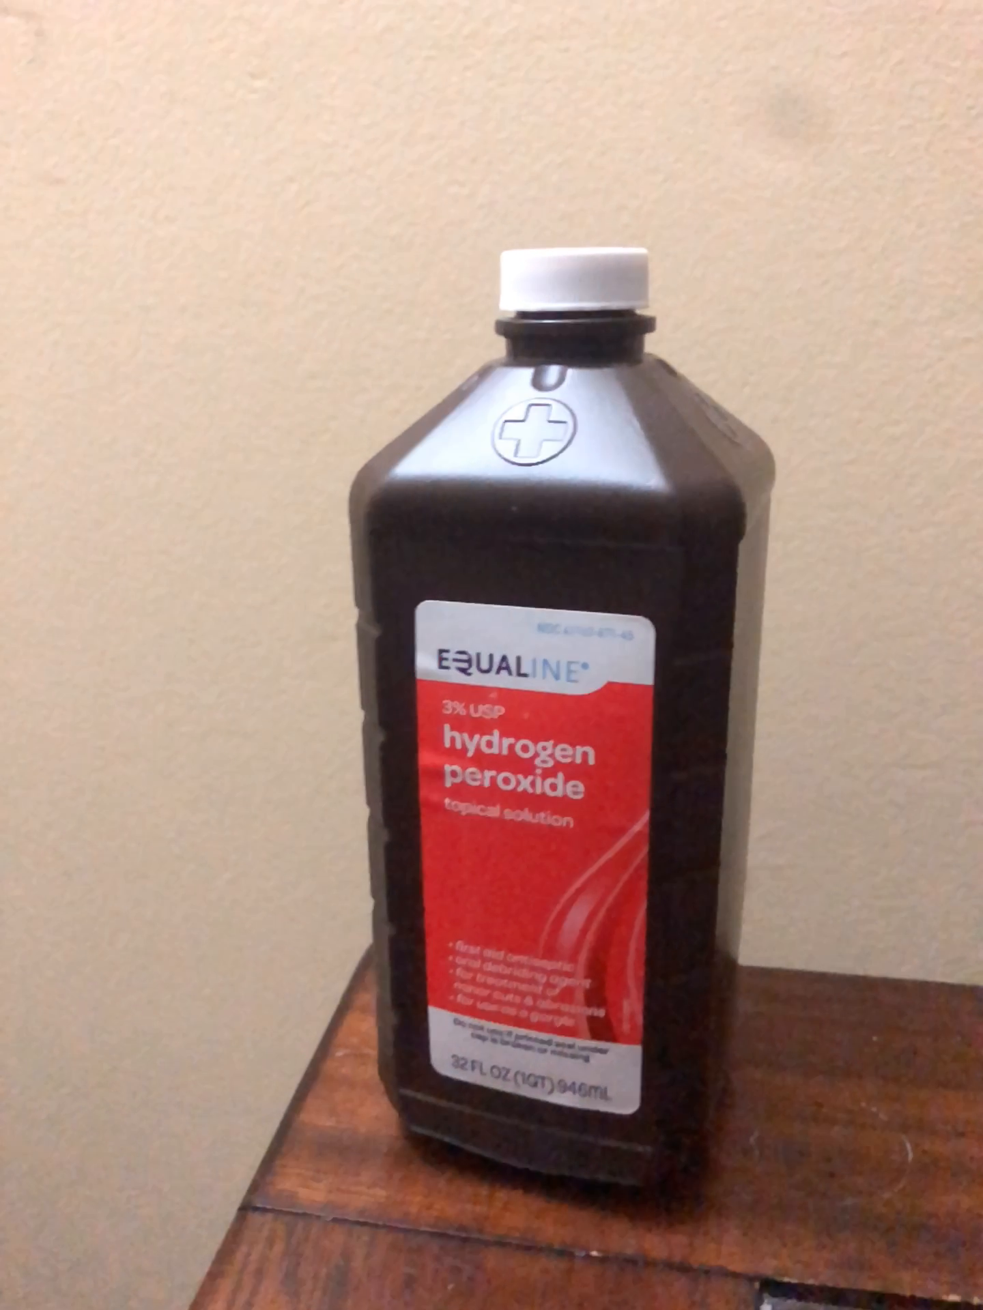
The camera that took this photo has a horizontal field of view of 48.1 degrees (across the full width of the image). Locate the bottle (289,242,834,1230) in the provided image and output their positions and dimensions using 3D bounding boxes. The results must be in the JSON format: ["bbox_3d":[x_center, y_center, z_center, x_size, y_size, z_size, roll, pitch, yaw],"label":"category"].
[{"bbox_3d":[0.021,0.012,0.247,0.090,0.190,0.080,5,19,18],"label":"bottle"}]
